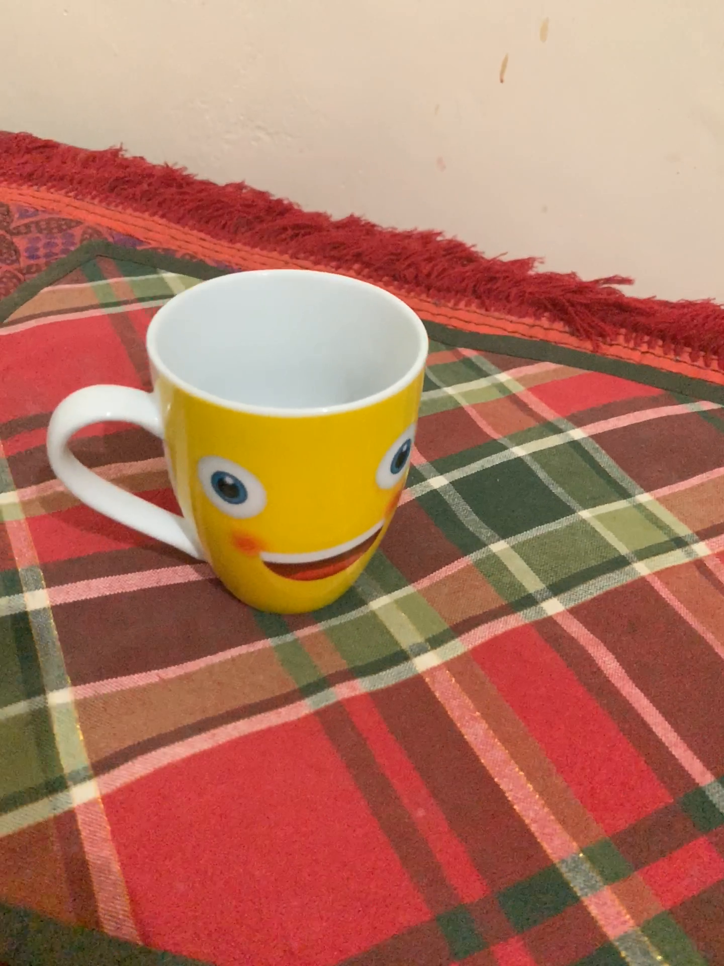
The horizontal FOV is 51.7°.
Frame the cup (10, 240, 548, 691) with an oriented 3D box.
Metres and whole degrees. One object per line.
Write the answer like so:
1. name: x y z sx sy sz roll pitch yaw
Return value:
1. cup: -0.027 -0.010 0.218 0.120 0.080 0.080 -10 45 -15
